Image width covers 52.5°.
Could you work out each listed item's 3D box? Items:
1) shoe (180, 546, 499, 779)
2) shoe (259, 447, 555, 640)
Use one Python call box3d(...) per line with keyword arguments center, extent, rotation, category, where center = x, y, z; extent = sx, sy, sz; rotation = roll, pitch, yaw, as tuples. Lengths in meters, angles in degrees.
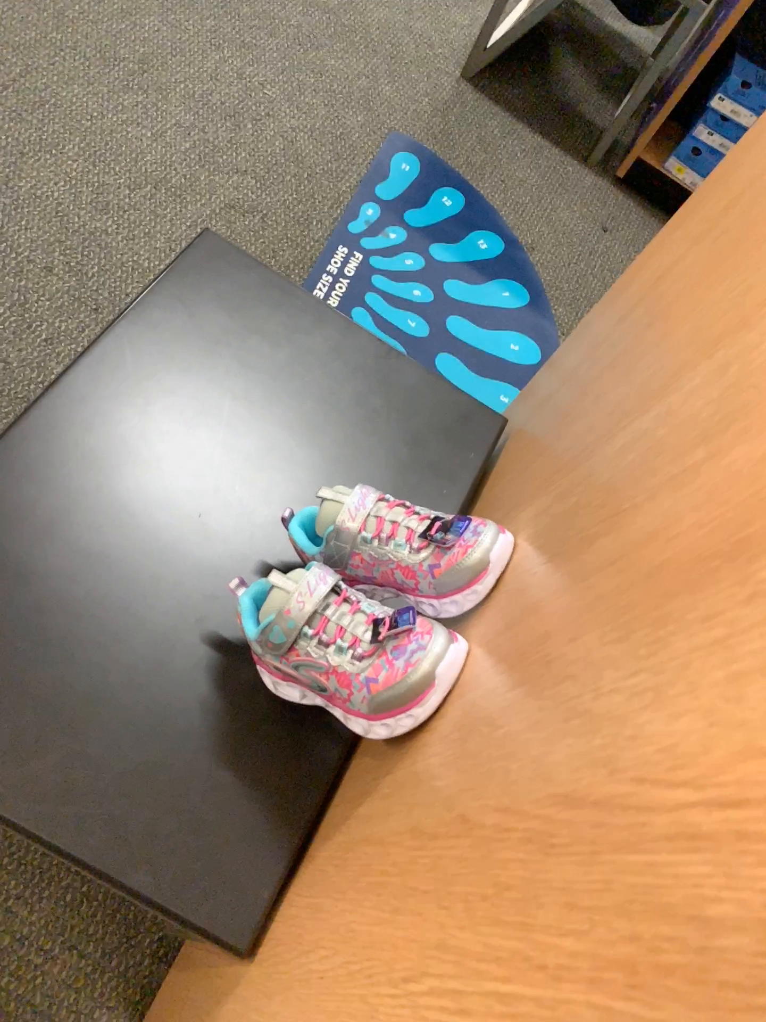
box3d(center=(-0.032, 0.098, 0.542), extent=(0.090, 0.180, 0.100), rotation=(-57, 132, -31), category="shoe")
box3d(center=(0.018, 0.021, 0.590), extent=(0.100, 0.180, 0.090), rotation=(55, 50, -37), category="shoe")
